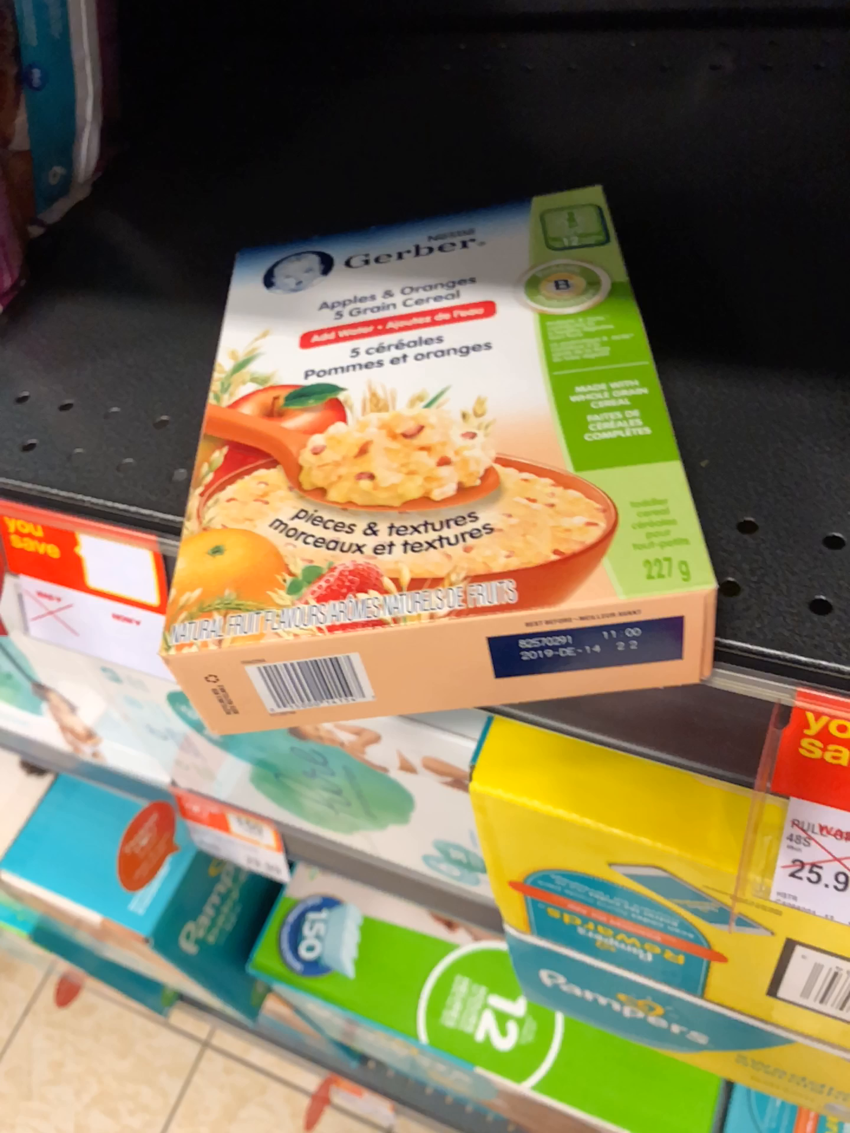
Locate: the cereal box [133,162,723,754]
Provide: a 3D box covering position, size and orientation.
[{"bbox_3d":[0.000,-0.049,0.326,0.150,0.050,0.211,-7,50,7],"label":"cereal box"}]
